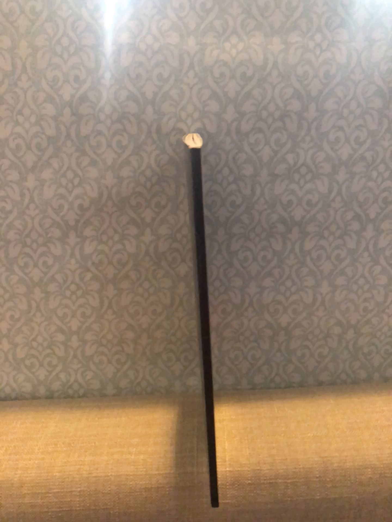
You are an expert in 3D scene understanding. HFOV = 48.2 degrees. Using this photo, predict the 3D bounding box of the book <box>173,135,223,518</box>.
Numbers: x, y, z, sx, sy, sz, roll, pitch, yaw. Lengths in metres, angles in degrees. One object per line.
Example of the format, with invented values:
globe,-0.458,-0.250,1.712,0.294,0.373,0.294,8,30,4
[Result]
book,-0.001,0.021,0.246,0.011,0.175,0.127,-4,16,-2
